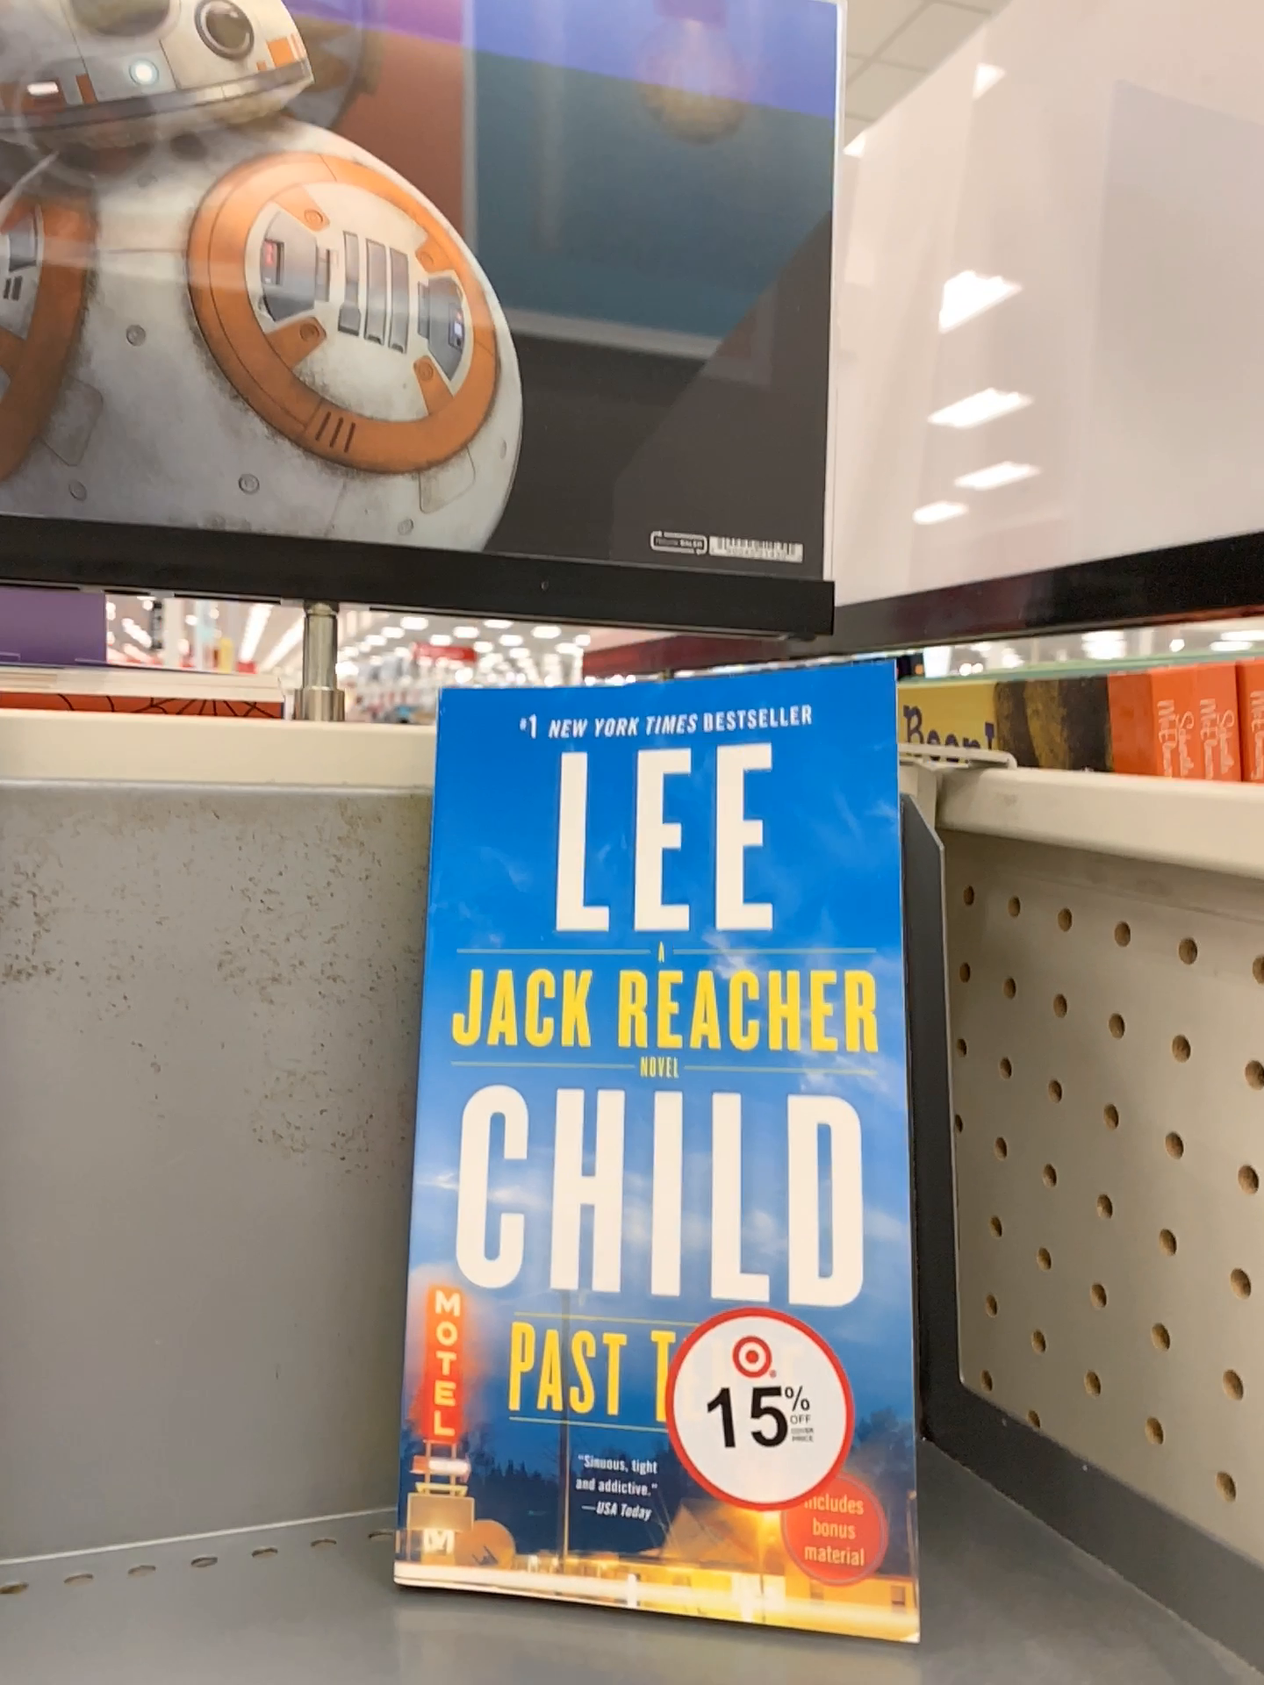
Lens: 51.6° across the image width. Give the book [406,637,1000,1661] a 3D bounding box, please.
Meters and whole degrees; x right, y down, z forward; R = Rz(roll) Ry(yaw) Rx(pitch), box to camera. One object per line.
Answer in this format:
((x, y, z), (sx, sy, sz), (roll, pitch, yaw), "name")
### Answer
((0.014, 0.063, 0.302), (0.110, 0.198, 0.080), (3, -13, -4), "book")
